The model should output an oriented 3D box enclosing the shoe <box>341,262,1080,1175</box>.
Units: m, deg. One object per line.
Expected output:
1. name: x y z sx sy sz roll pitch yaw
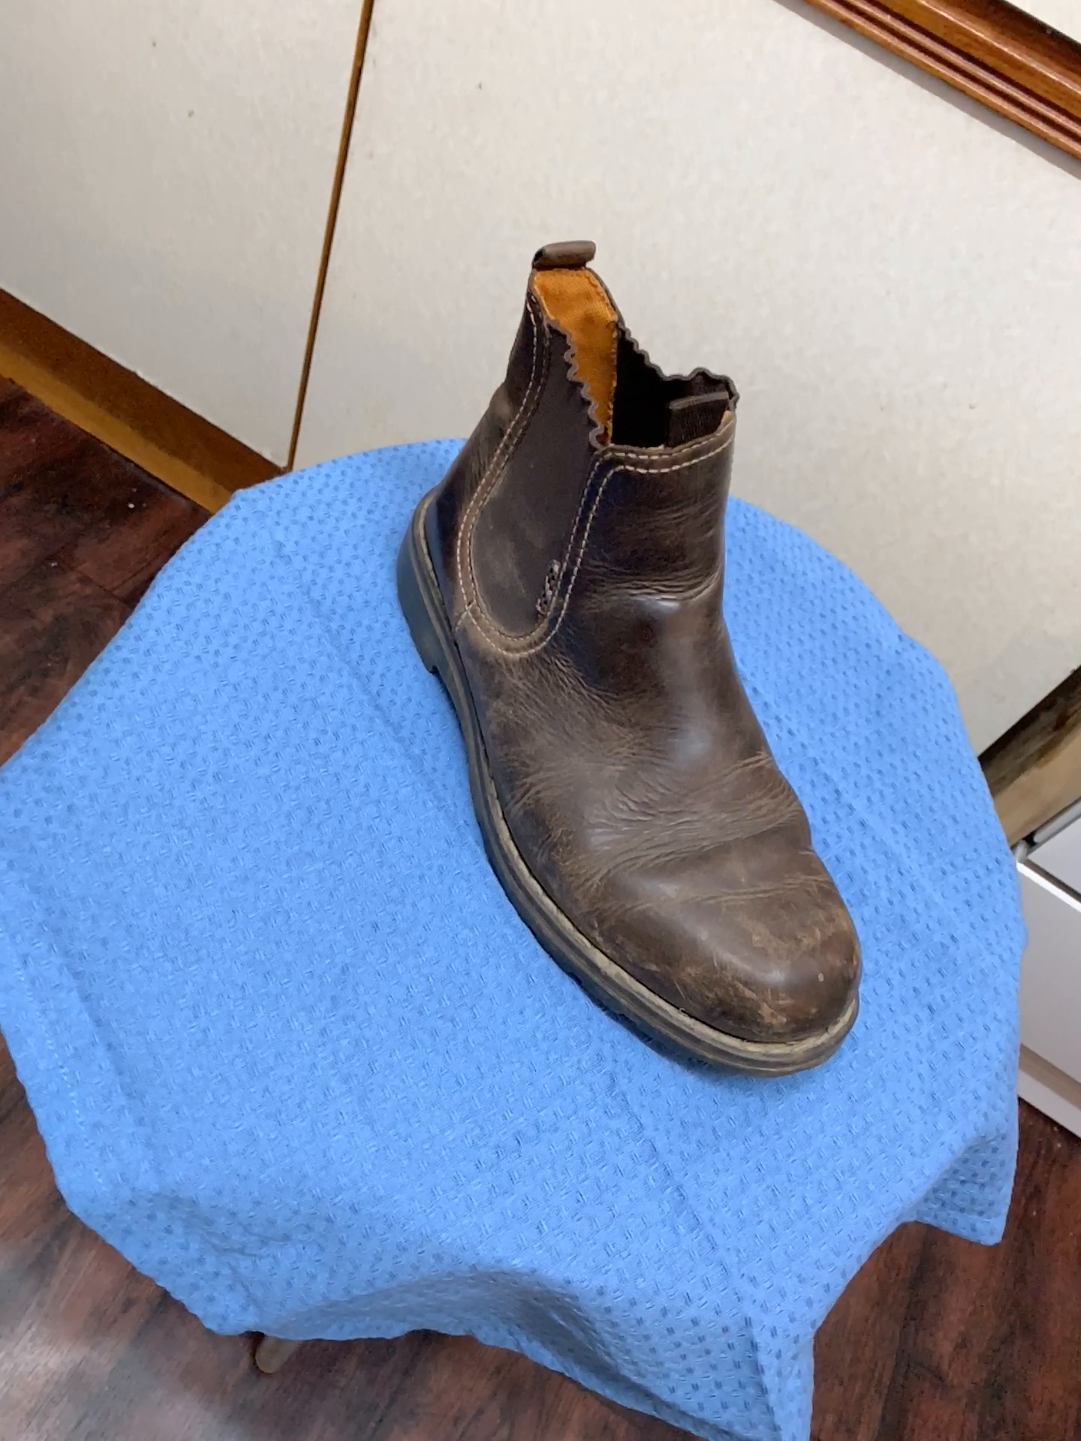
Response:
1. shoe: 0.041 -0.010 0.405 0.106 0.156 0.279 -15 62 -30
